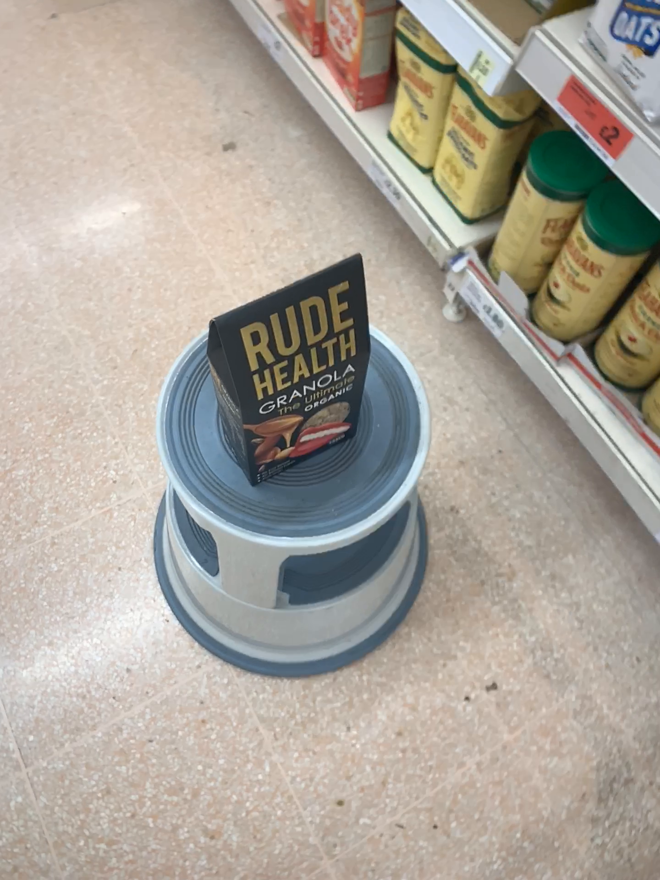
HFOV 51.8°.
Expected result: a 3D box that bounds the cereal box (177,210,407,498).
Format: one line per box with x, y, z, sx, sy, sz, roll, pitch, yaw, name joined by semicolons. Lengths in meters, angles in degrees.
-0.034;-0.055;0.580;0.140;0.259;0.070;-26;70;-15;cereal box
